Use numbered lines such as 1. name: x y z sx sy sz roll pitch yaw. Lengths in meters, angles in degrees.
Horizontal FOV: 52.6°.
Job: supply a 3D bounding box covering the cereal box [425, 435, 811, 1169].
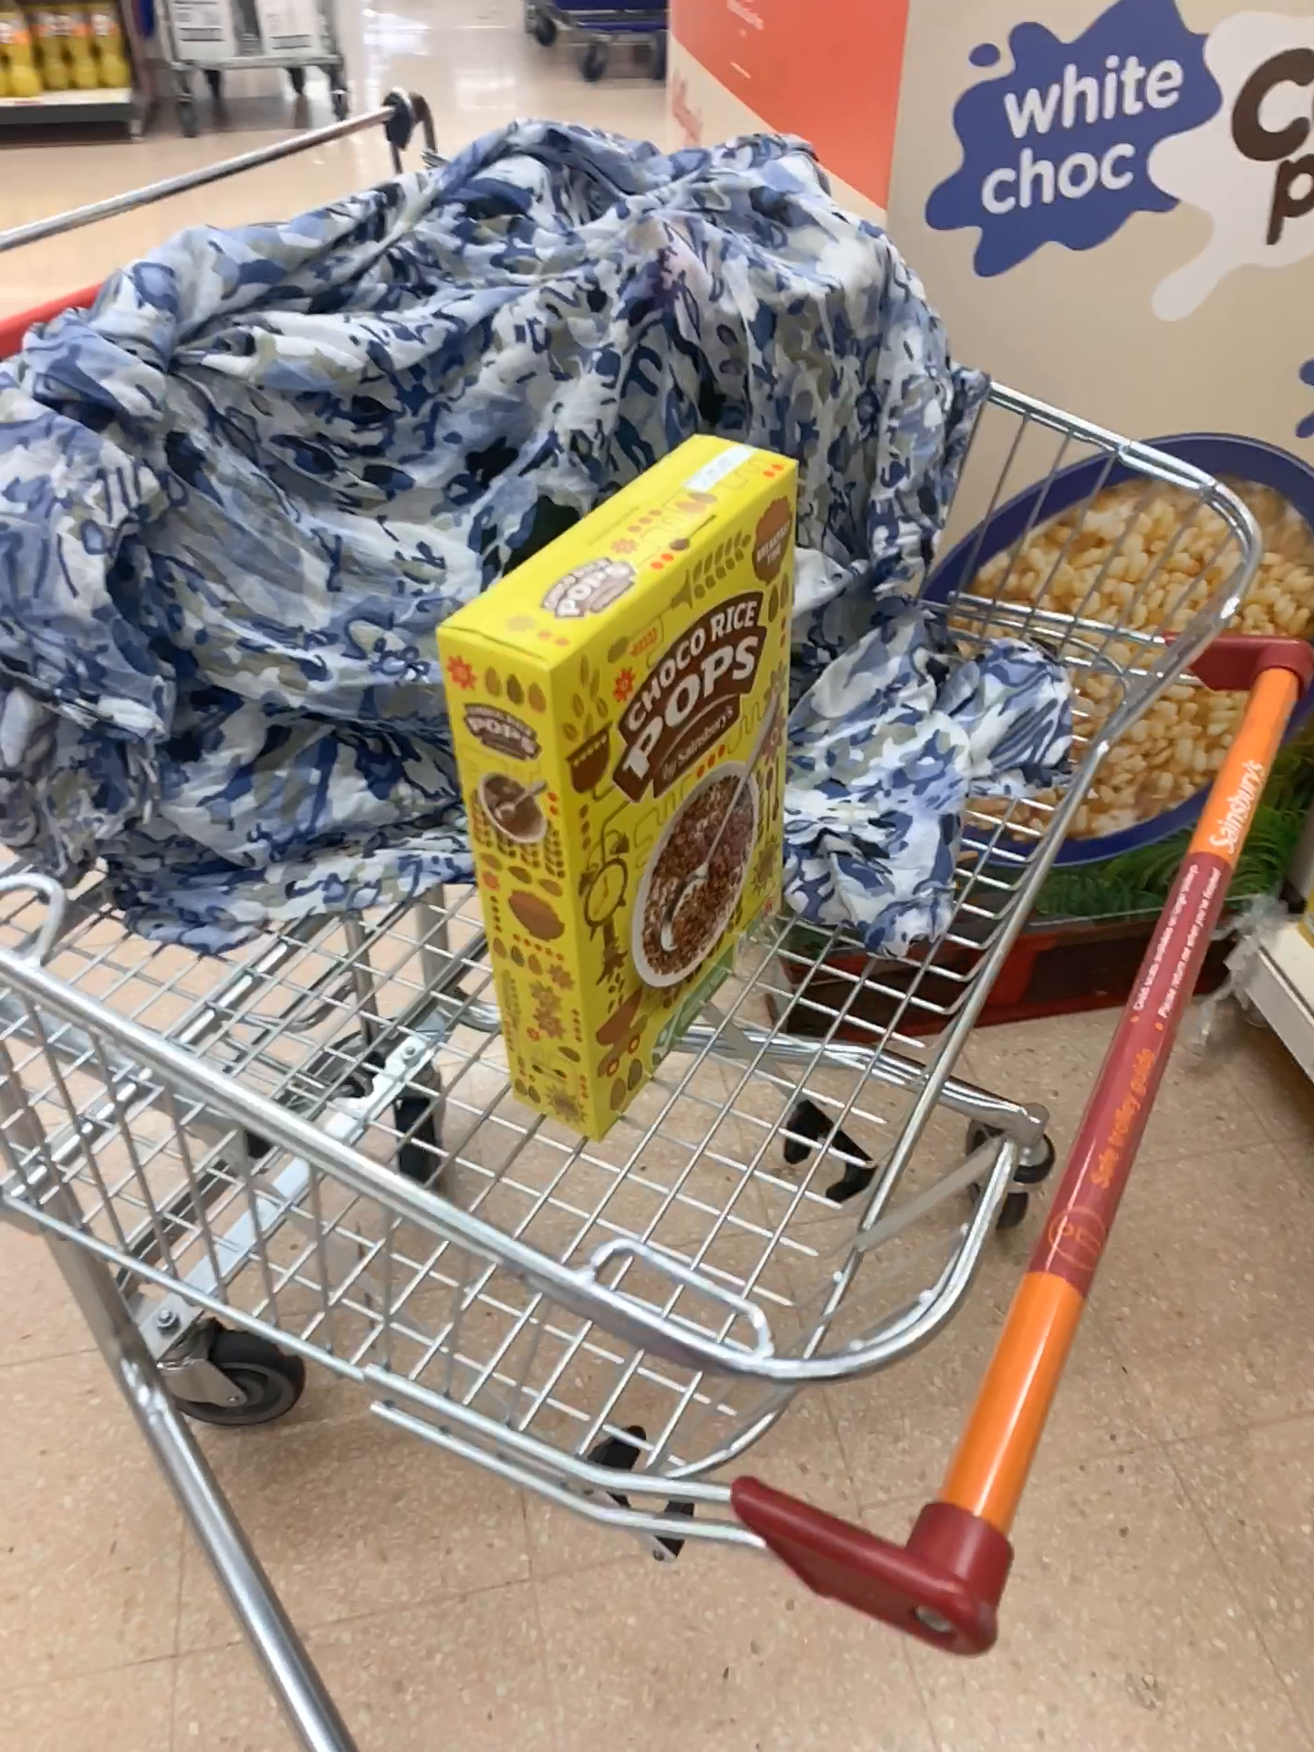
1. cereal box: -0.003 -0.033 0.615 0.060 0.267 0.202 18 43 24
